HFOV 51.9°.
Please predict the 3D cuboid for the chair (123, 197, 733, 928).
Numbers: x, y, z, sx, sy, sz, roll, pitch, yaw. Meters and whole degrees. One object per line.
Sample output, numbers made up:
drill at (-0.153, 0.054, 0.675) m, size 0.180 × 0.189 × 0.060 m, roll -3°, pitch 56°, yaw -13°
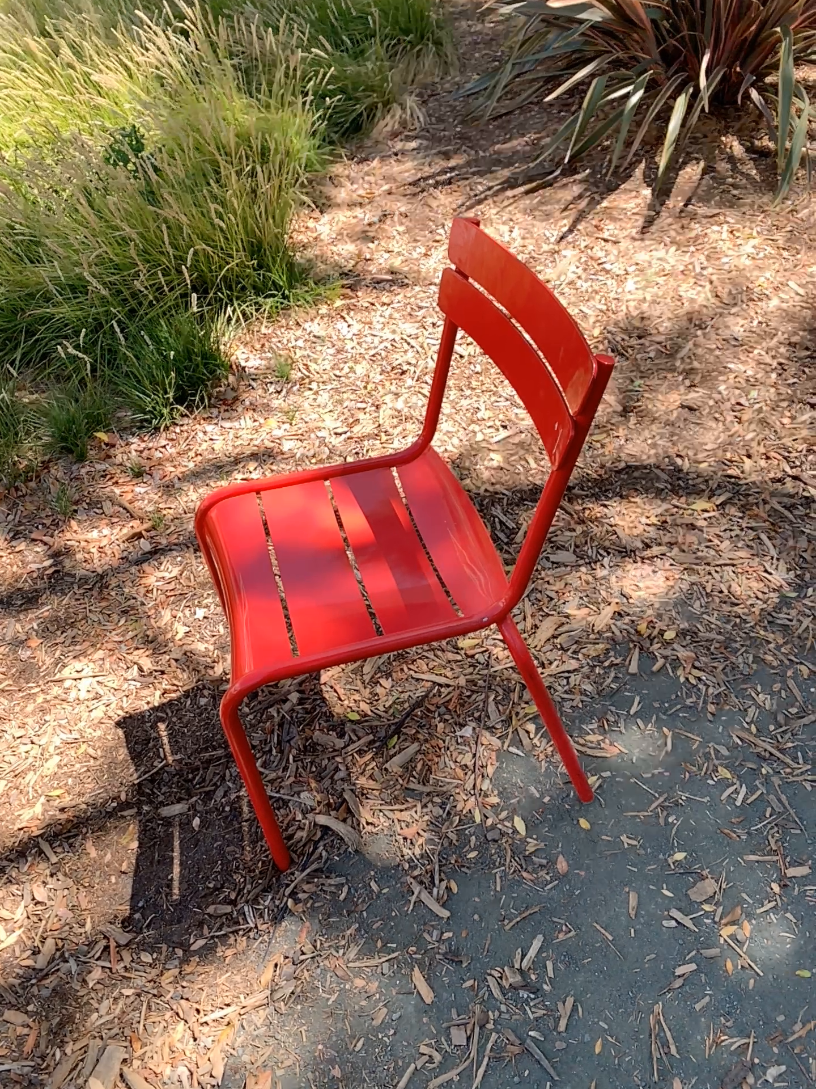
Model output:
chair at (-0.038, 0.007, 1.244) m, size 0.570 × 0.785 × 0.614 m, roll -10°, pitch 40°, yaw -13°
